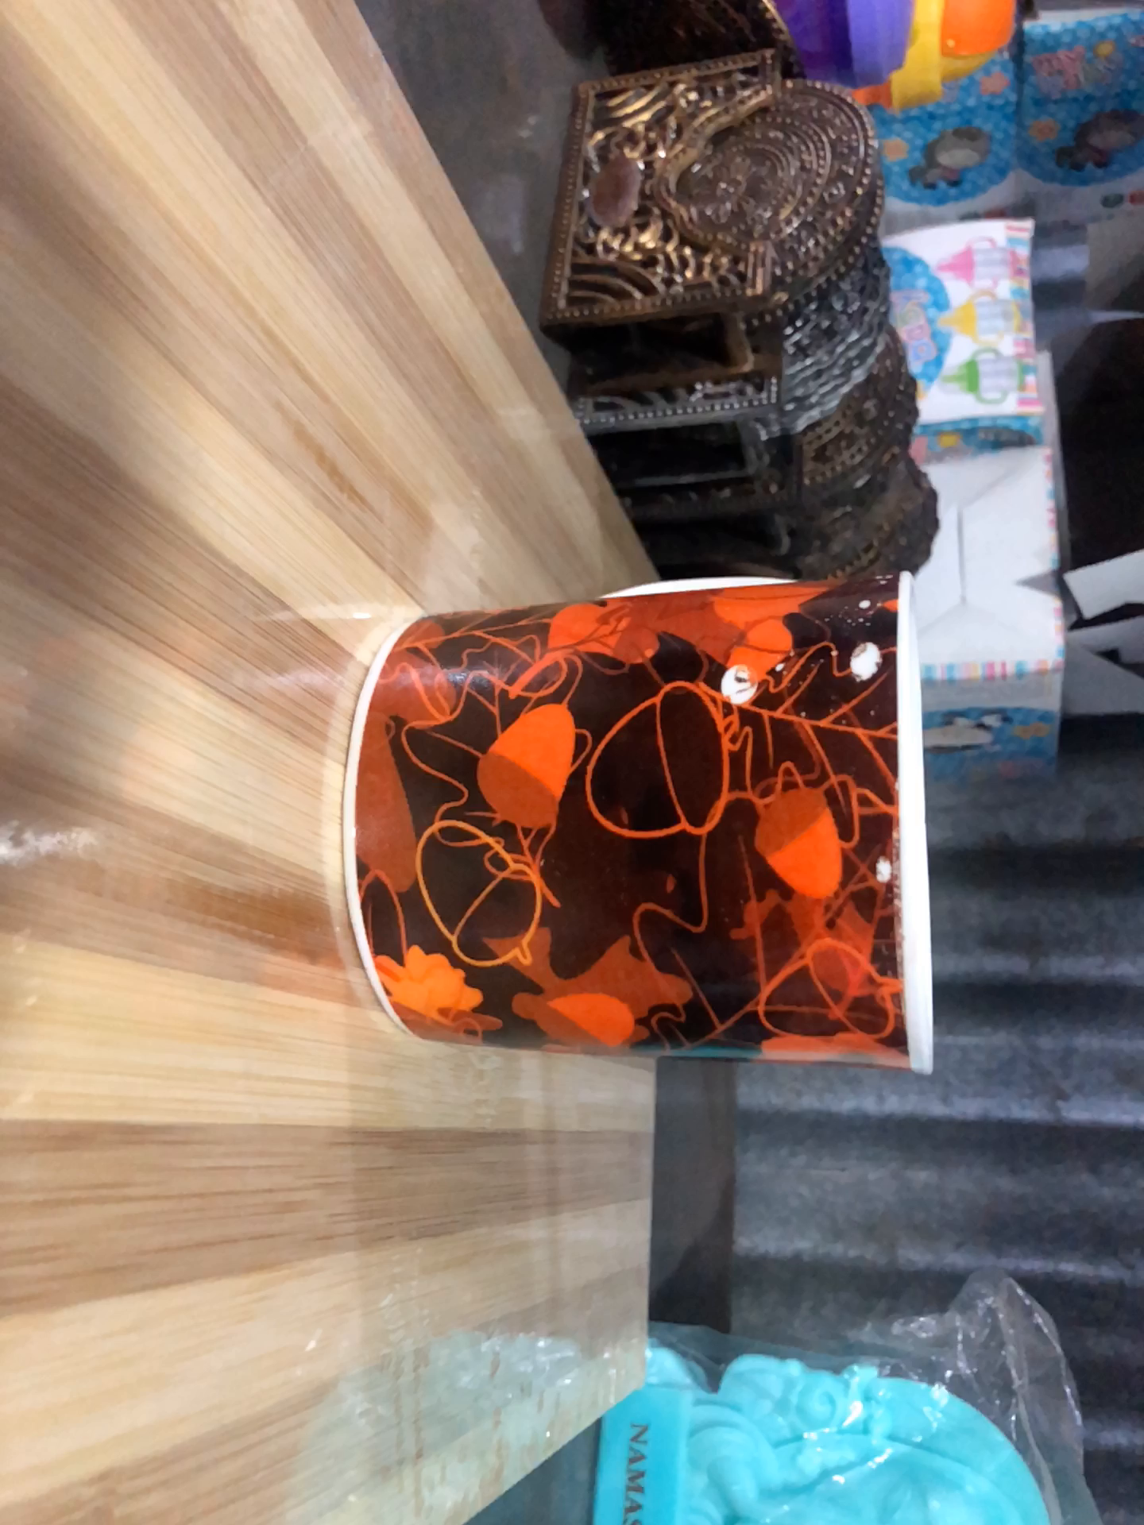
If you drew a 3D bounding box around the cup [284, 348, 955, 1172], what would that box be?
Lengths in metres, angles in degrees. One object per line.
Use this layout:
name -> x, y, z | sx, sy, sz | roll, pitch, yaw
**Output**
cup -> 0.021, -0.005, 0.214 | 0.110, 0.080, 0.080 | -73, 157, -49
